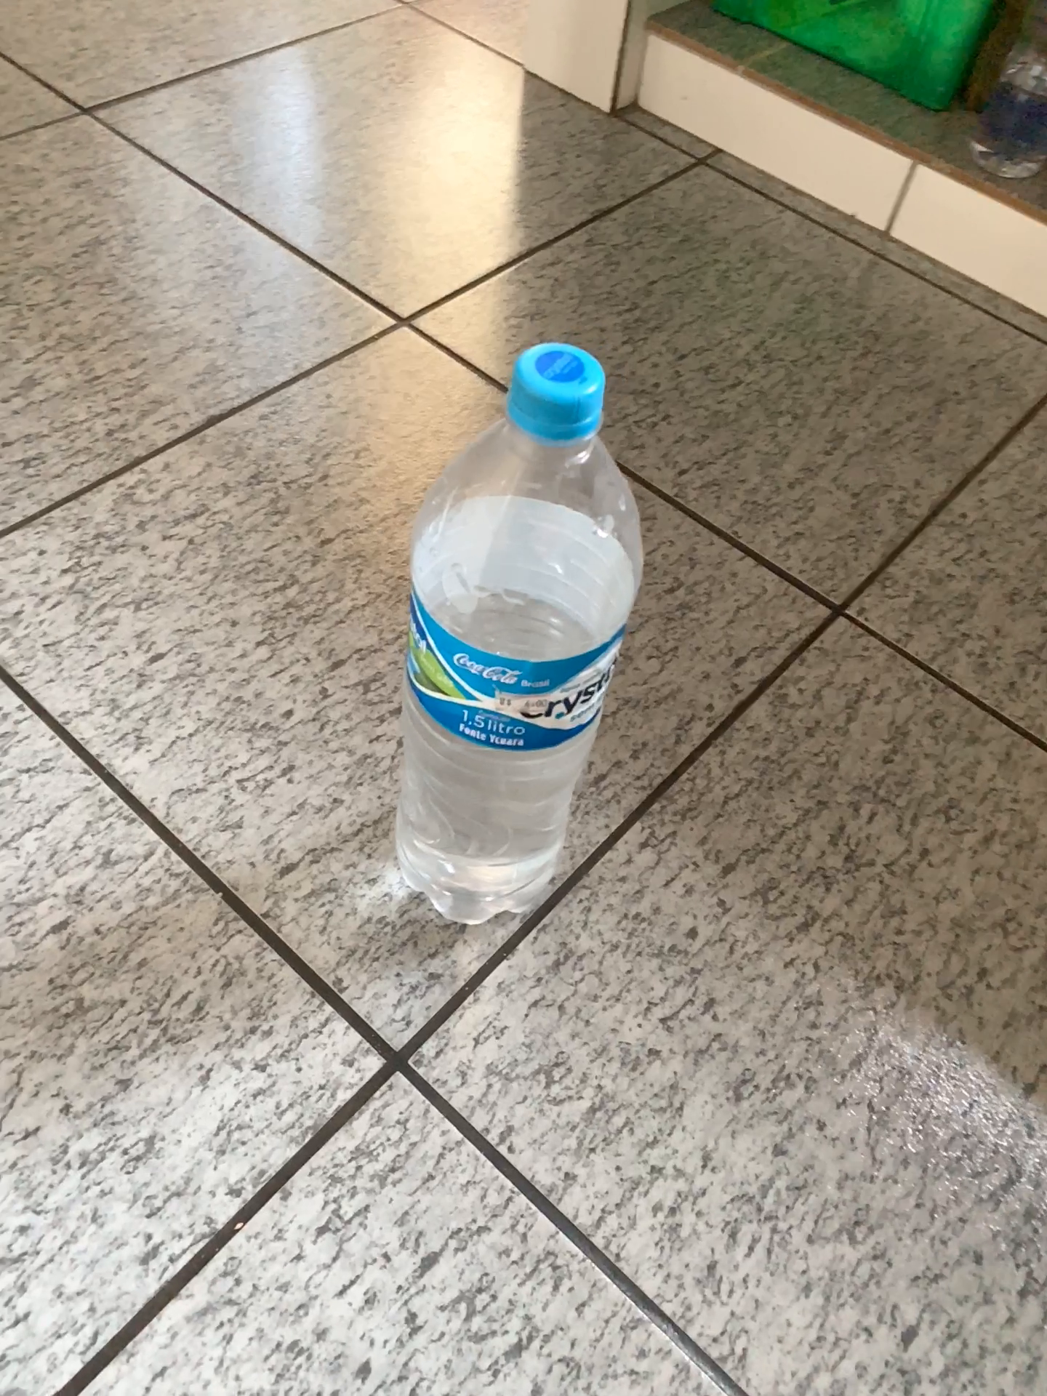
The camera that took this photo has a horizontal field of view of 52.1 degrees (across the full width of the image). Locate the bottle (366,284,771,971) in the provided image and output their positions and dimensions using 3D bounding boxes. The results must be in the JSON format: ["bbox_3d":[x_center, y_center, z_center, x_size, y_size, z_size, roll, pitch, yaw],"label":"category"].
[{"bbox_3d":[-0.004,-0.004,0.444,0.090,0.299,0.090,4,53,-5],"label":"bottle"}]
